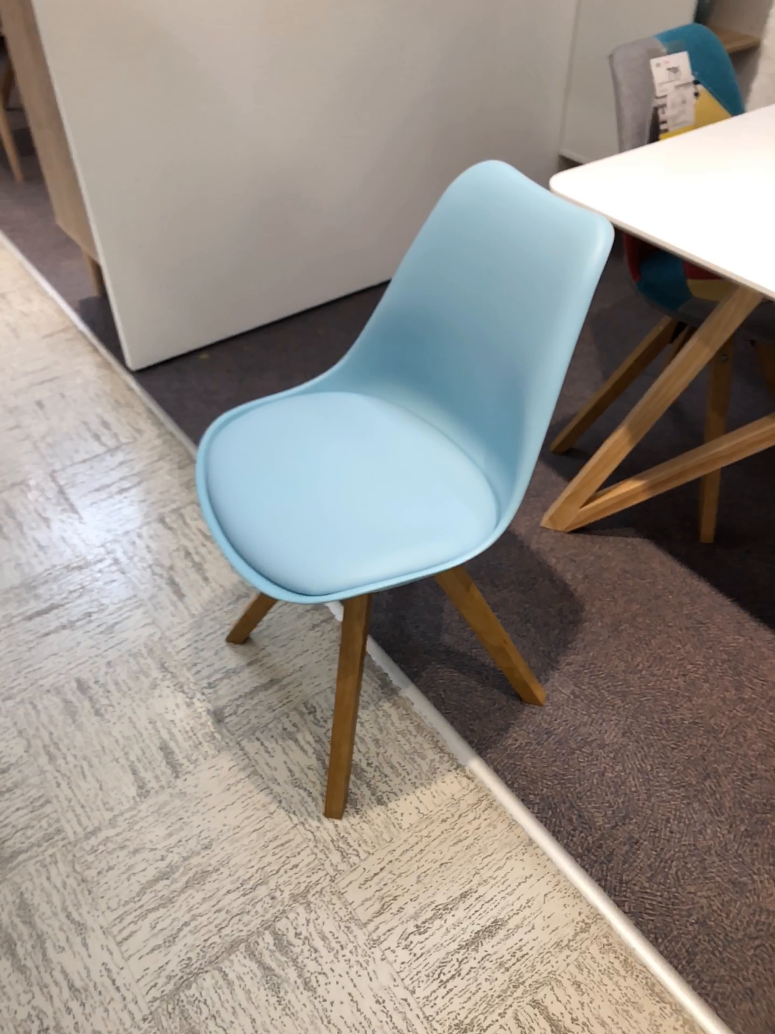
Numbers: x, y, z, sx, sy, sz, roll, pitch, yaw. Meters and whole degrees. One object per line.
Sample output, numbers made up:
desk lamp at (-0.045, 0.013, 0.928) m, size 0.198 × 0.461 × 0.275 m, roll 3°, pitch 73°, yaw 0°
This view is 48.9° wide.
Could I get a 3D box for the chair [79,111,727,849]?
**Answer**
chair at (-0.001, -0.059, 1.273) m, size 0.562 × 0.795 × 0.541 m, roll -24°, pitch 47°, yaw -23°
